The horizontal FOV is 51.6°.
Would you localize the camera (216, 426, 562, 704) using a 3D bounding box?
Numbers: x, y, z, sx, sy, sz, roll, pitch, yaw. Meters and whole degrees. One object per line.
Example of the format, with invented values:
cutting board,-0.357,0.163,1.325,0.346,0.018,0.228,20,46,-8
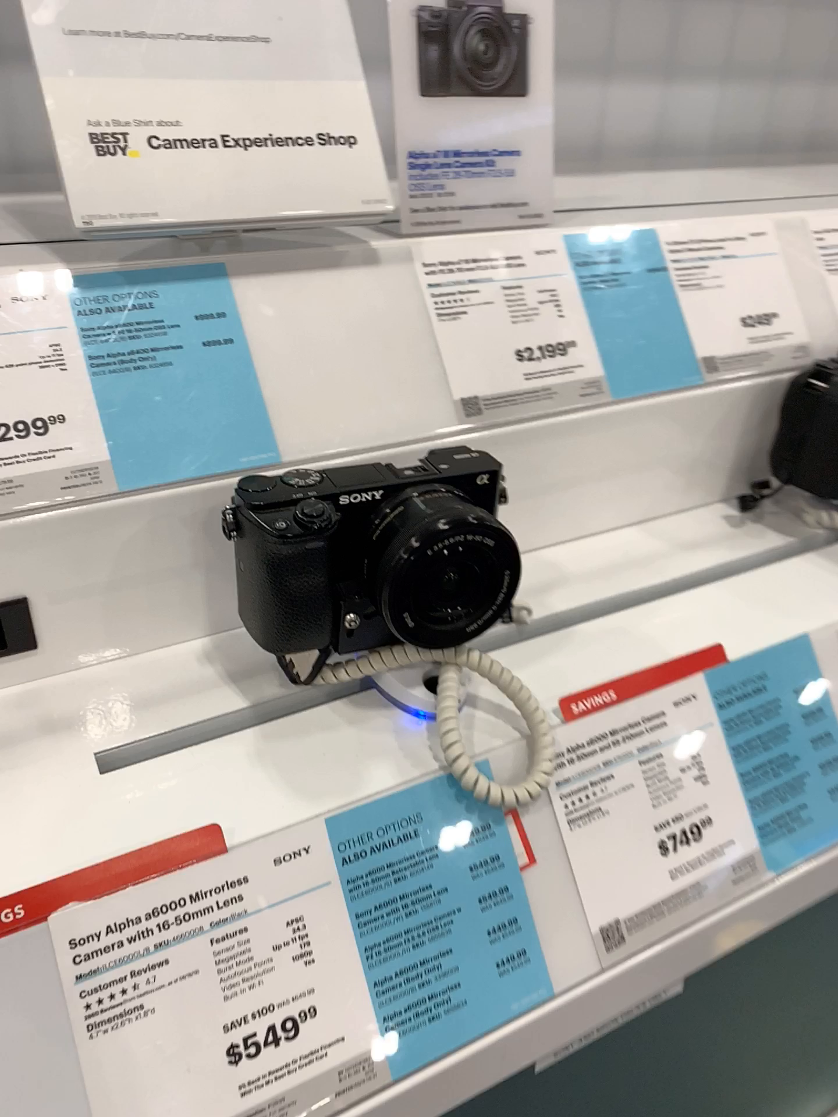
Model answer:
camera,-0.014,-0.001,0.377,0.130,0.080,0.060,-11,32,-21
